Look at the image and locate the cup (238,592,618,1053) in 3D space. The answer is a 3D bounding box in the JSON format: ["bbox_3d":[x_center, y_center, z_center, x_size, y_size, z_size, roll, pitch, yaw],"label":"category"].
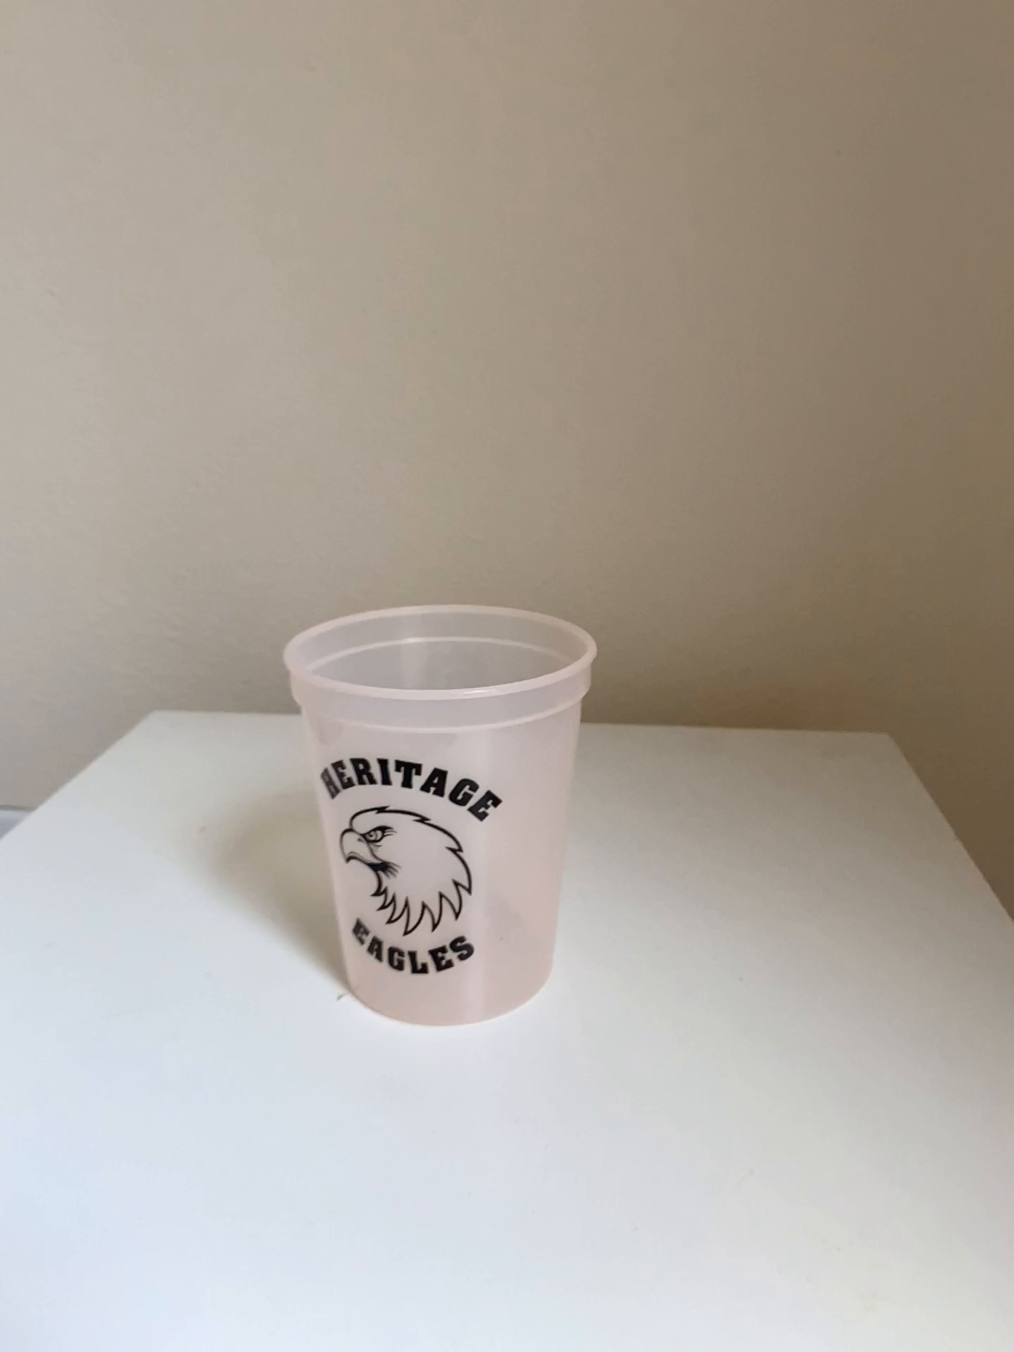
[{"bbox_3d":[-0.019,0.039,0.333,0.090,0.110,0.080,6,19,19],"label":"cup"}]
